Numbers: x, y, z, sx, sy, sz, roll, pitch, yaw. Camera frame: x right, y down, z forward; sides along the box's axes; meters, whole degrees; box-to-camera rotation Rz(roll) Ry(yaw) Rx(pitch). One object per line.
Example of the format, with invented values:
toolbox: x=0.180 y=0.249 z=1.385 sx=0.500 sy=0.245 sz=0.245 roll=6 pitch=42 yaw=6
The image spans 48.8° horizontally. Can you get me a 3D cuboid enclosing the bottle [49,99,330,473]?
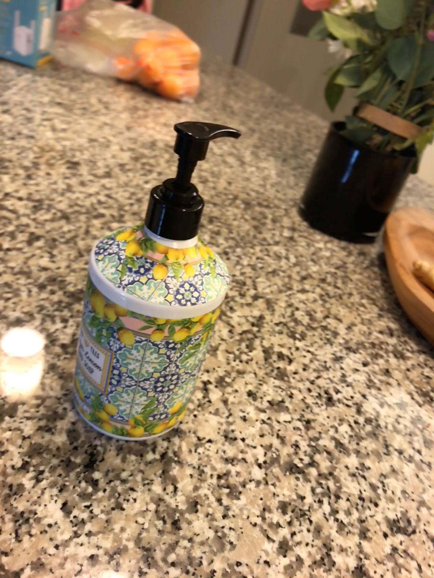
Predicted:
bottle: x=-0.032 y=0.001 z=0.289 sx=0.100 sy=0.189 sz=0.090 roll=-9 pitch=42 yaw=-34
